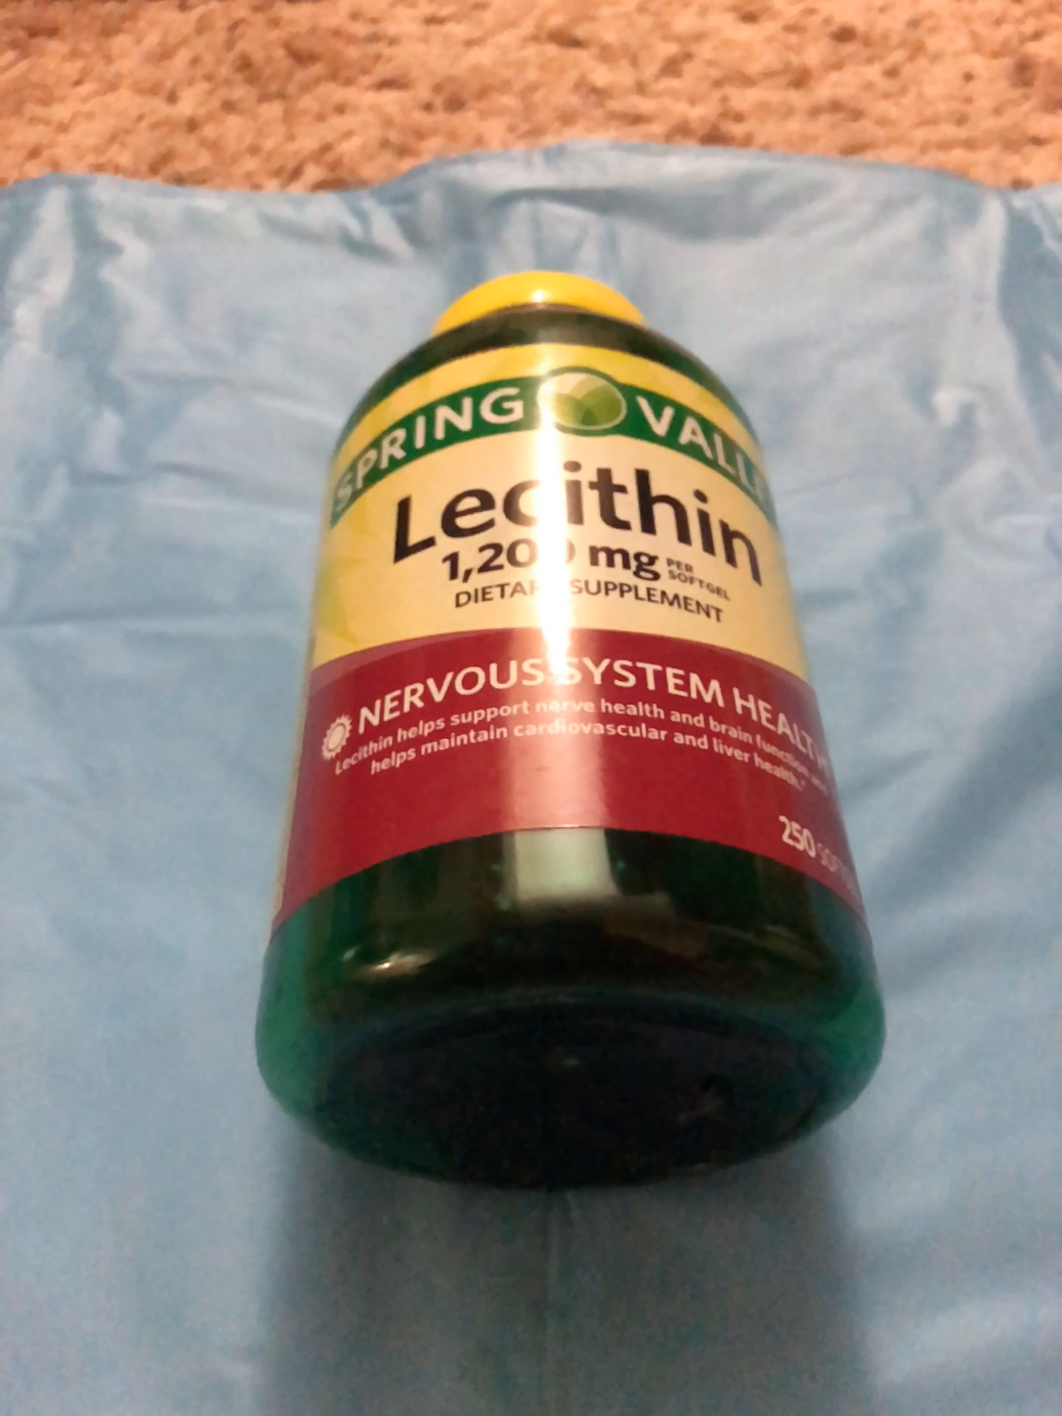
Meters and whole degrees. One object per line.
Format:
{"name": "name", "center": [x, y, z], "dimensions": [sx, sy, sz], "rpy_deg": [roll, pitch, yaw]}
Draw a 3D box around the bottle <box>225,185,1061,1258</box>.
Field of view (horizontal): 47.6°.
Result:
{"name": "bottle", "center": [0.019, -0.005, 0.216], "dimensions": [0.100, 0.090, 0.170], "rpy_deg": [-2, 52, 2]}
